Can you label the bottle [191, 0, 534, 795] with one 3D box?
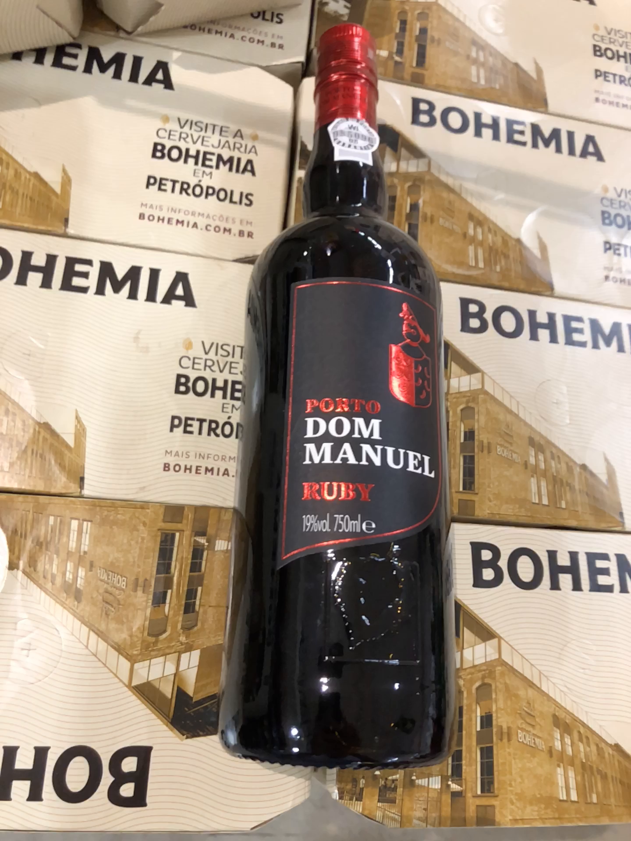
[{"bbox_3d":[0.015,-0.044,0.279,0.090,0.070,0.331,7,70,-17],"label":"bottle"}]
